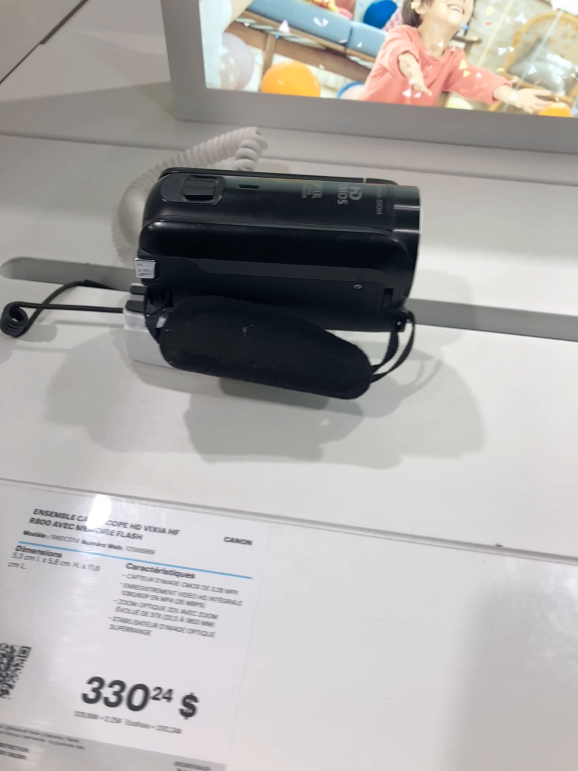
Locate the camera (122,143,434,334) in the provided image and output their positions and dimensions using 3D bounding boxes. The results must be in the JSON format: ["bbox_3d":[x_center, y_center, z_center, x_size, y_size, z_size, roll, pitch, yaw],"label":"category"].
[{"bbox_3d":[-0.003,-0.061,0.268,0.113,0.050,0.050,5,48,3],"label":"camera"}]
